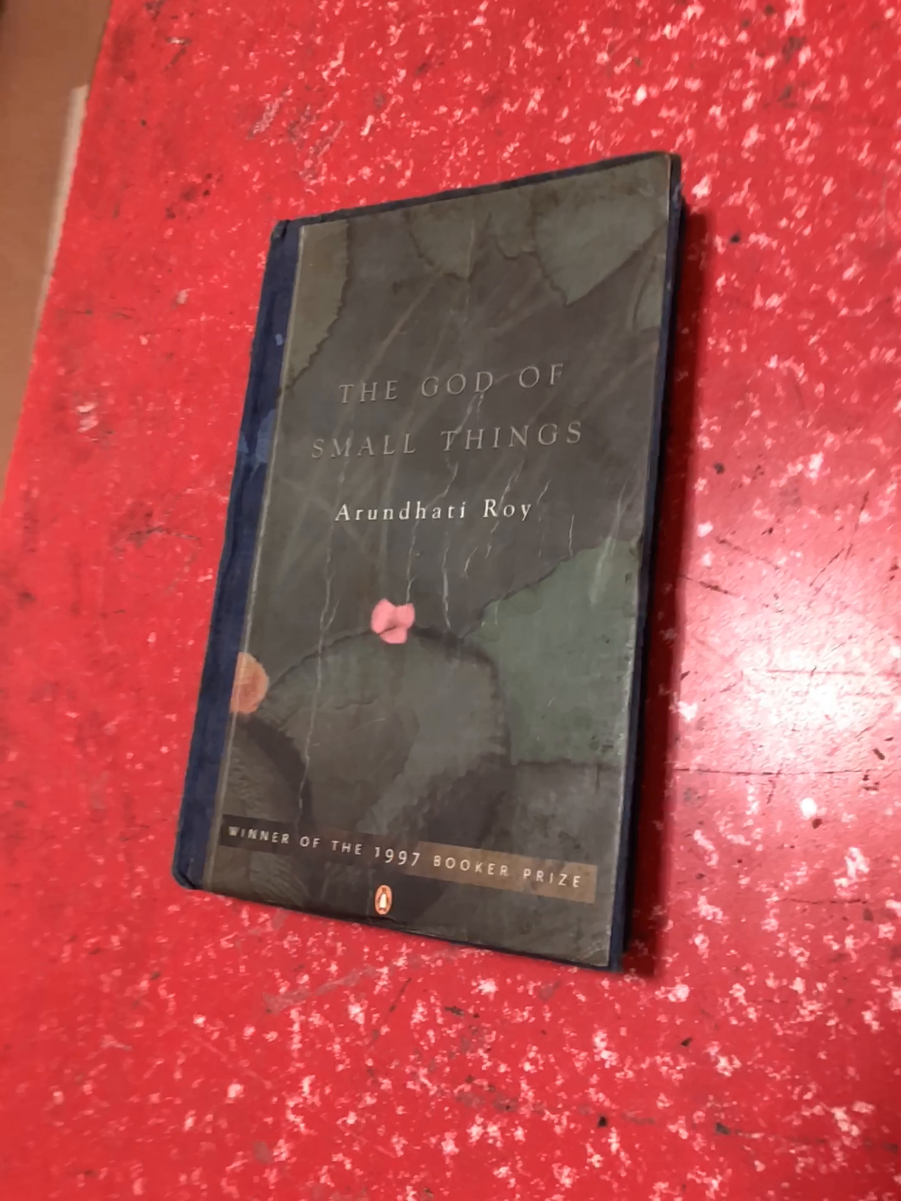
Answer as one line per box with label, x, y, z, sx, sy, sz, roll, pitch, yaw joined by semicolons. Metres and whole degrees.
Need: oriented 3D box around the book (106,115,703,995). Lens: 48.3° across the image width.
book;-0.013;-0.016;0.296;0.150;0.040;0.220;1;77;28
